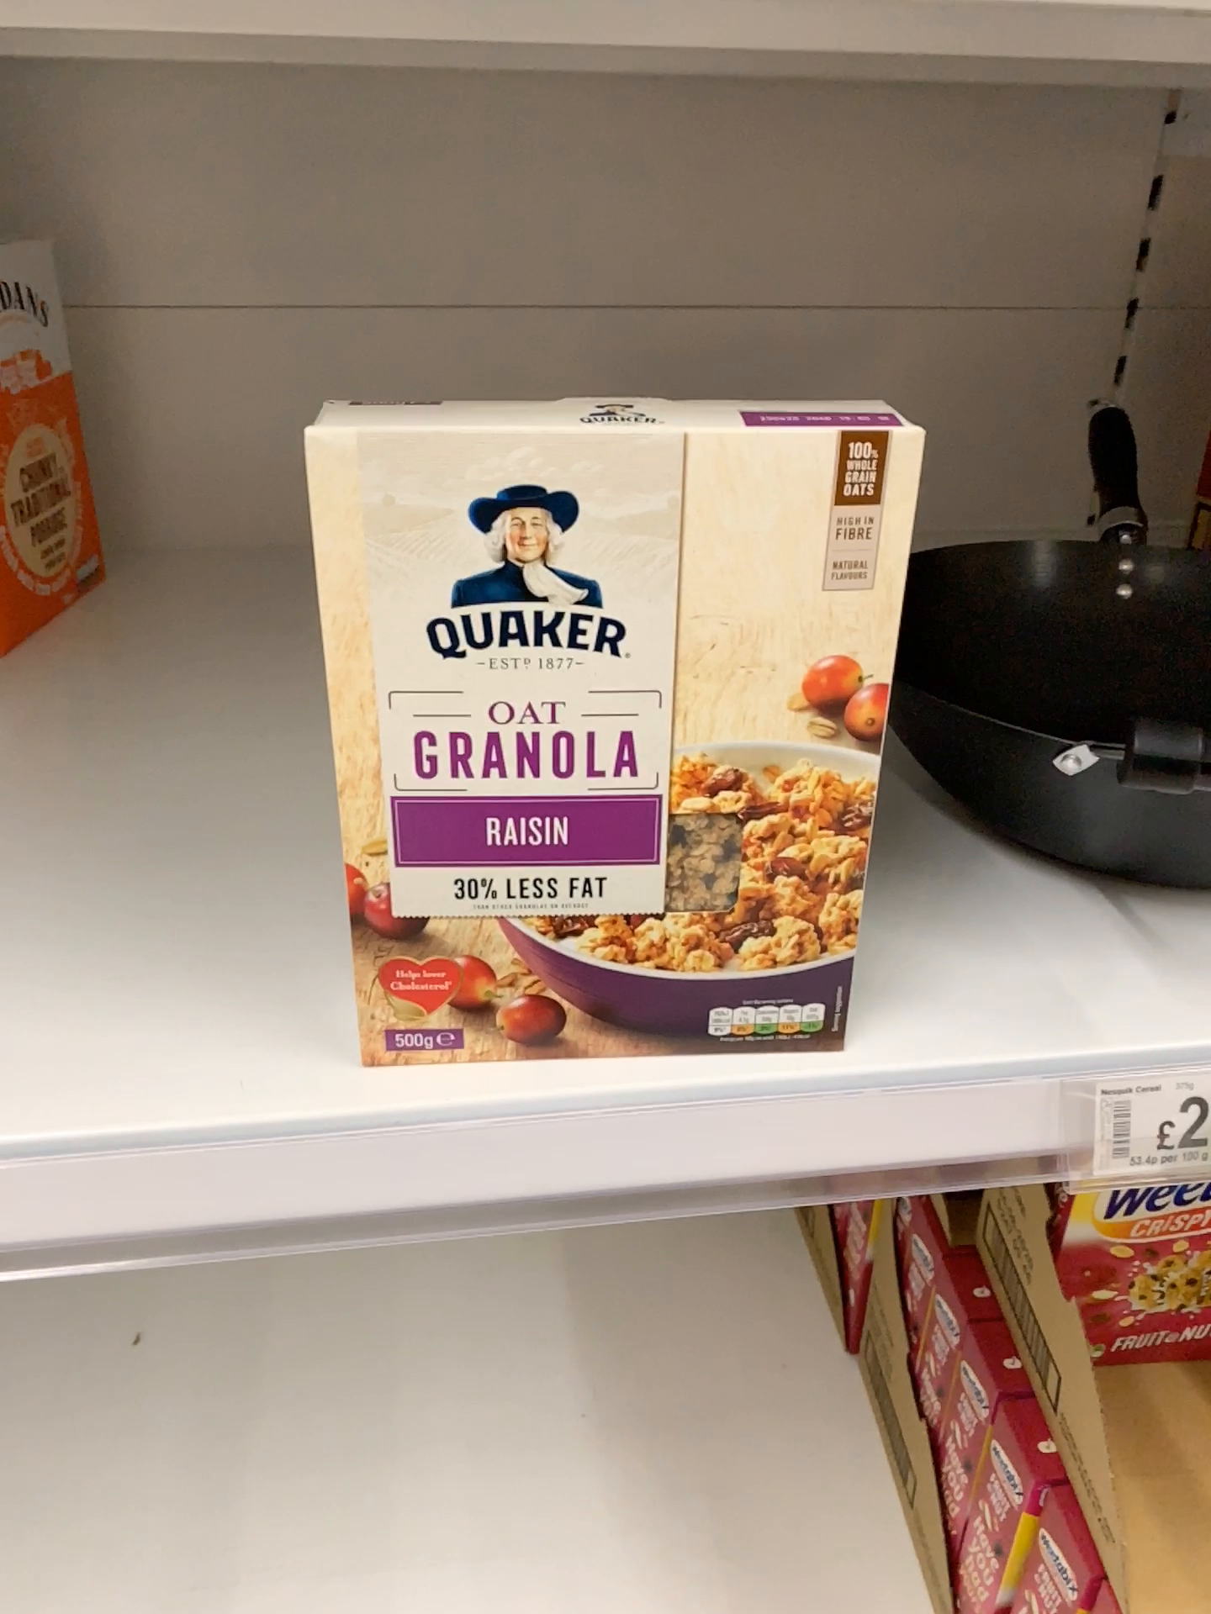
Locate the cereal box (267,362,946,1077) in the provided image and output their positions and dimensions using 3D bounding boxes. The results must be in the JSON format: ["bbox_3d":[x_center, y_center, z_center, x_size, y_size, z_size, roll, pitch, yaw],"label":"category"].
[{"bbox_3d":[-0.002,-0.024,0.449,0.200,0.248,0.061,-1,27,-5],"label":"cereal box"}]
